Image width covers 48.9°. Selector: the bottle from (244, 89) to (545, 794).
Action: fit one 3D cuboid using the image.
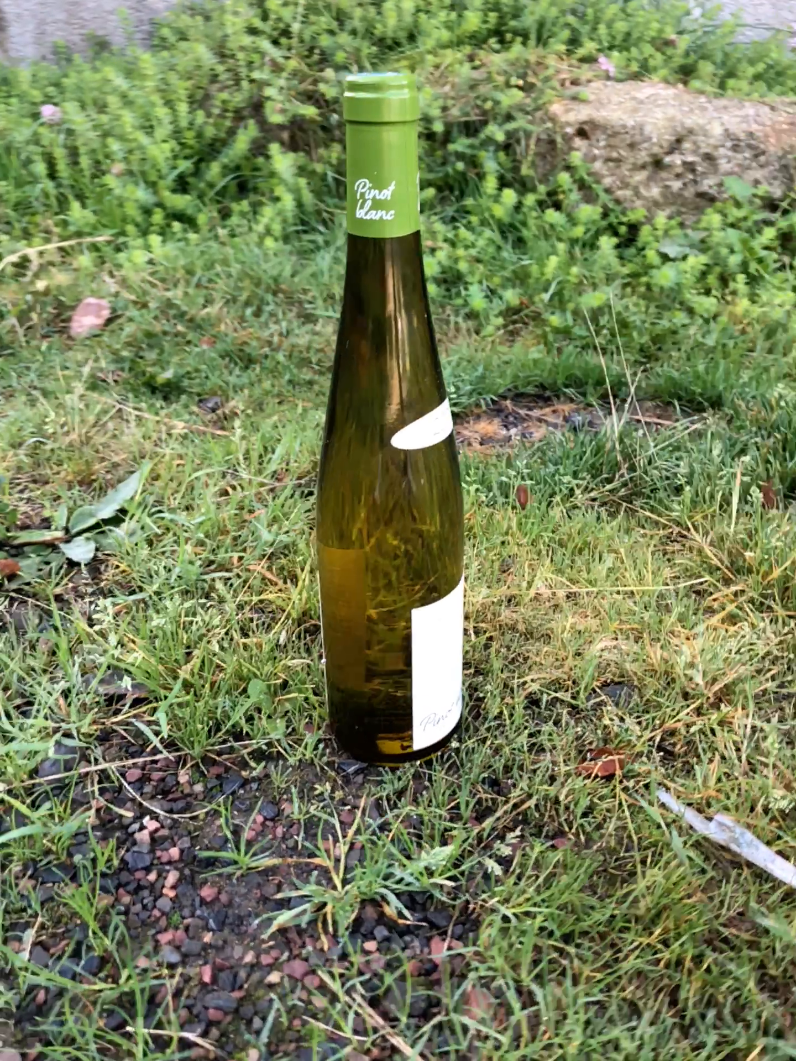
[{"bbox_3d":[0.009,-0.032,0.424,0.090,0.318,0.091,-2,30,1],"label":"bottle"}]
